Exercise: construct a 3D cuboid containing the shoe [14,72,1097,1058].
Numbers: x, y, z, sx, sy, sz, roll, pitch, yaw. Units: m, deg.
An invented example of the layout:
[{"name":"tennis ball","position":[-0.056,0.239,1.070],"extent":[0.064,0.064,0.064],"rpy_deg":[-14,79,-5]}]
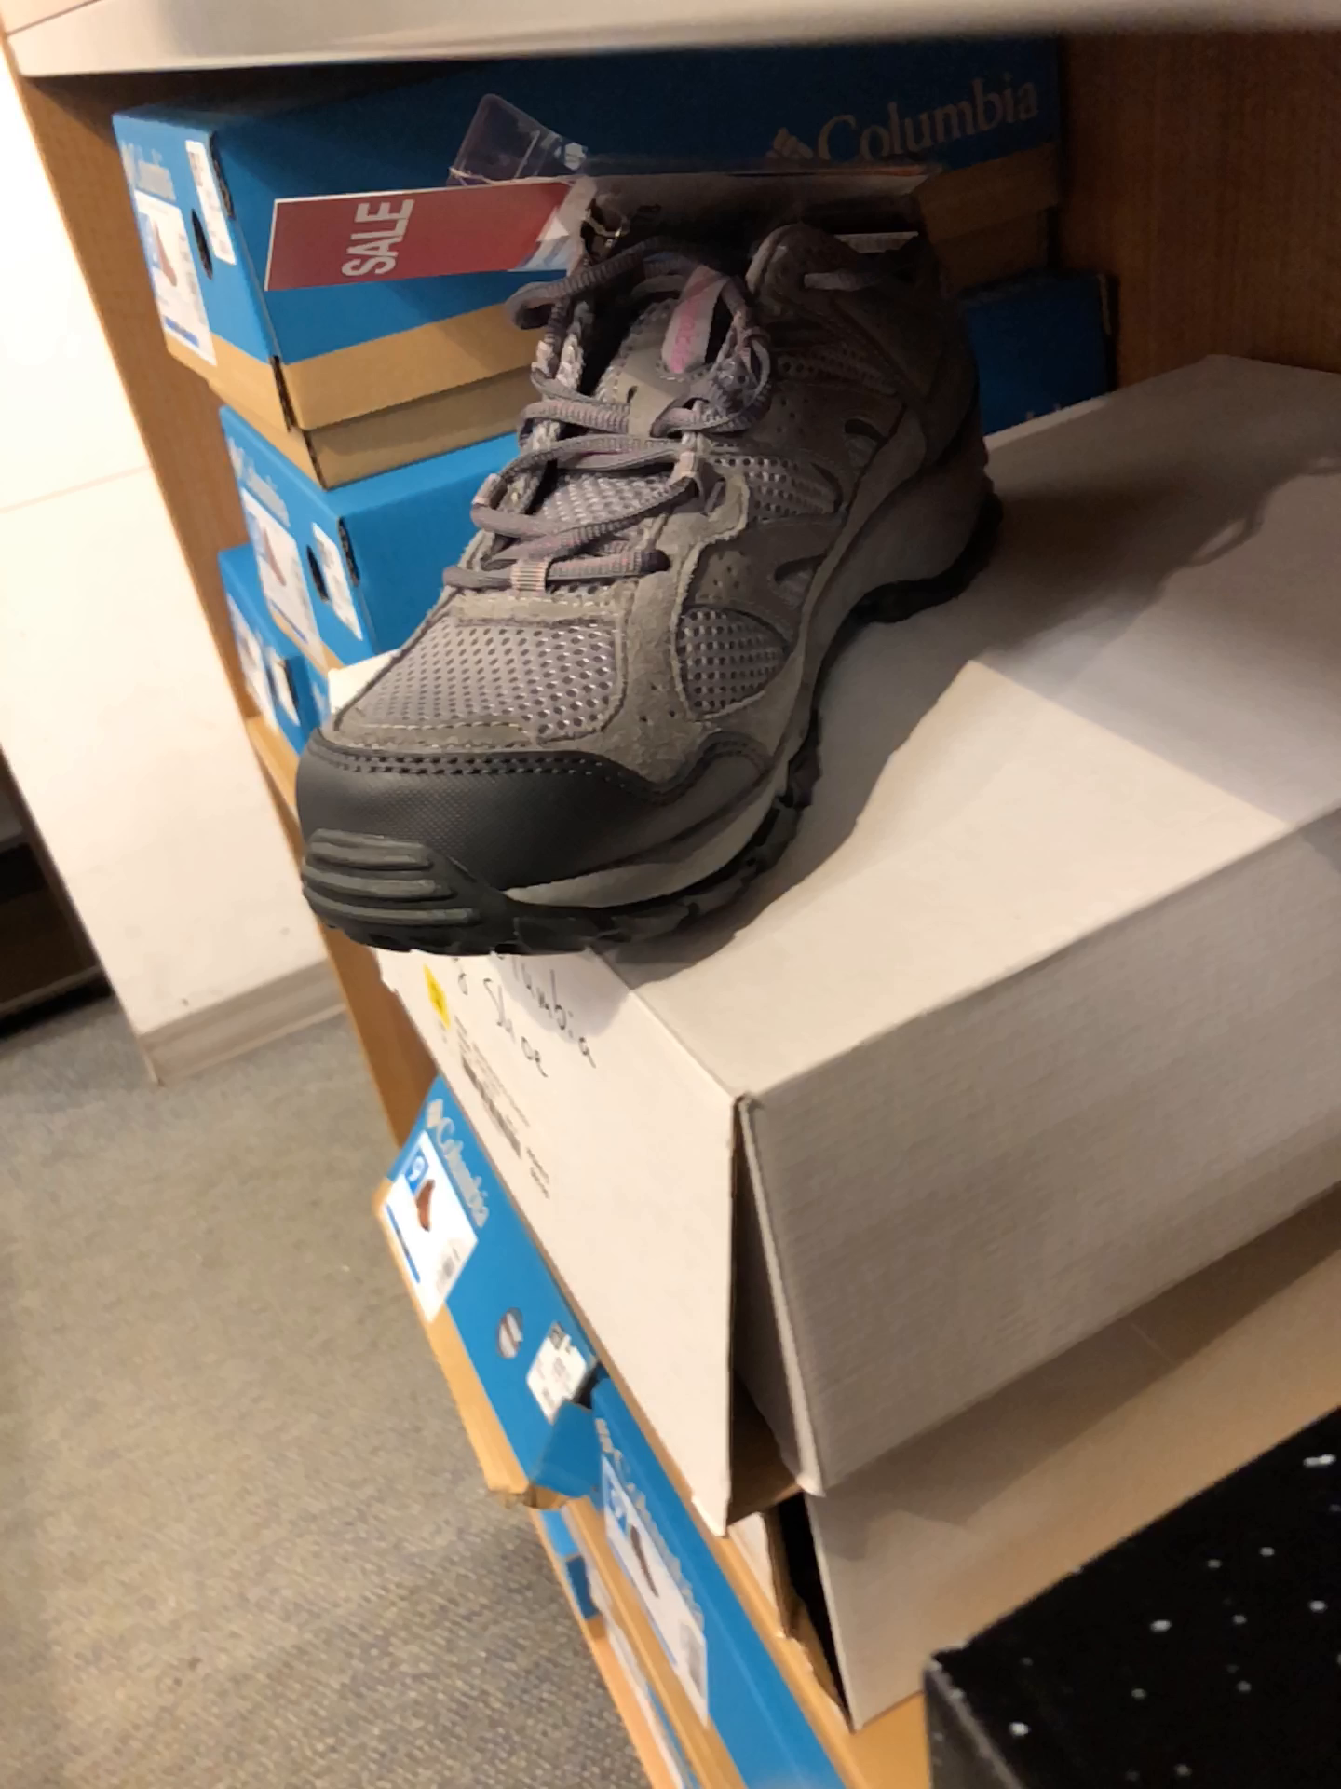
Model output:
[{"name":"shoe","position":[0.007,-0.099,0.351],"extent":[0.104,0.114,0.267],"rpy_deg":[10,39,30]}]
